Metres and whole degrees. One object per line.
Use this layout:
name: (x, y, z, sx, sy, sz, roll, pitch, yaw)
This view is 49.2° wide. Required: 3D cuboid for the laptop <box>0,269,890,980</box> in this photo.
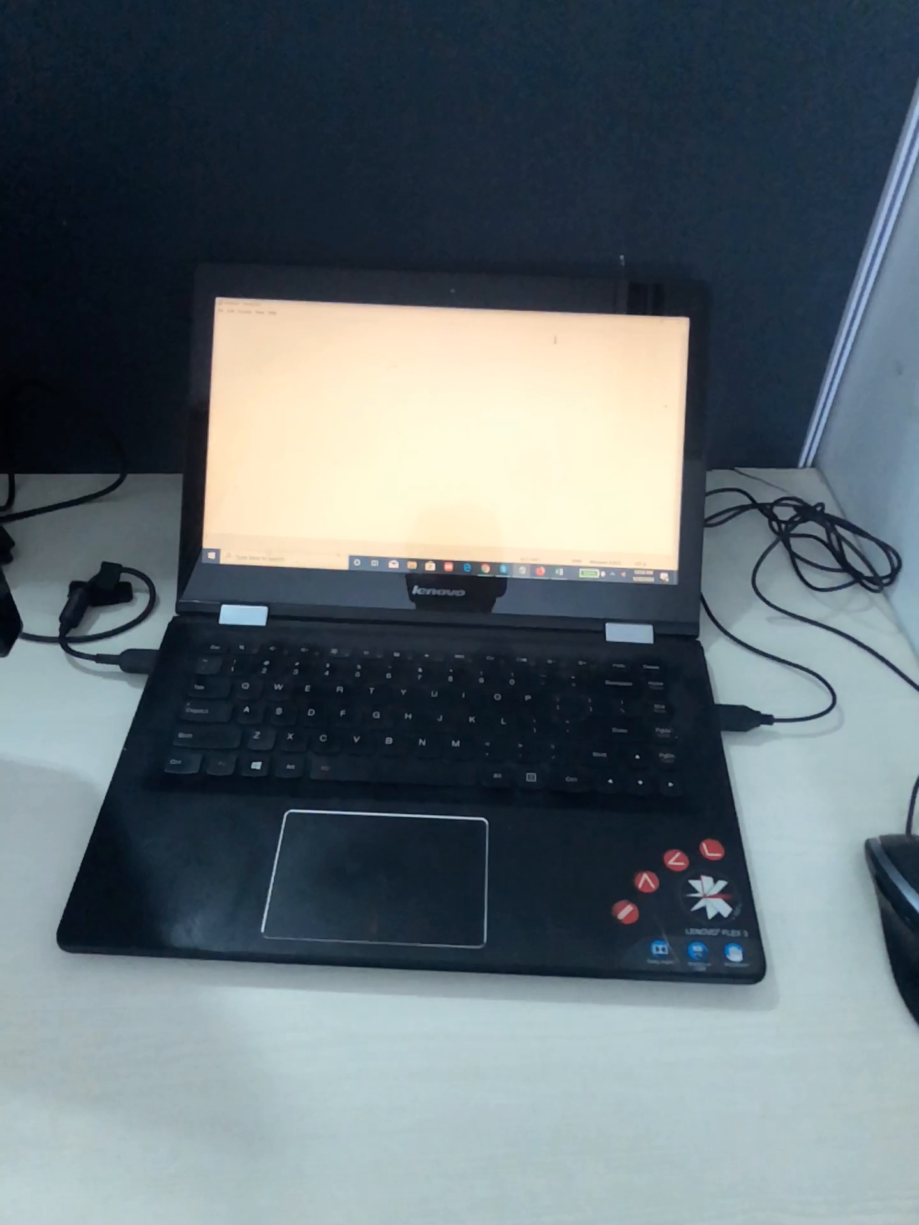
laptop: (-0.013, -0.026, 0.561, 0.334, 0.170, 0.387, 3, 41, 0)
